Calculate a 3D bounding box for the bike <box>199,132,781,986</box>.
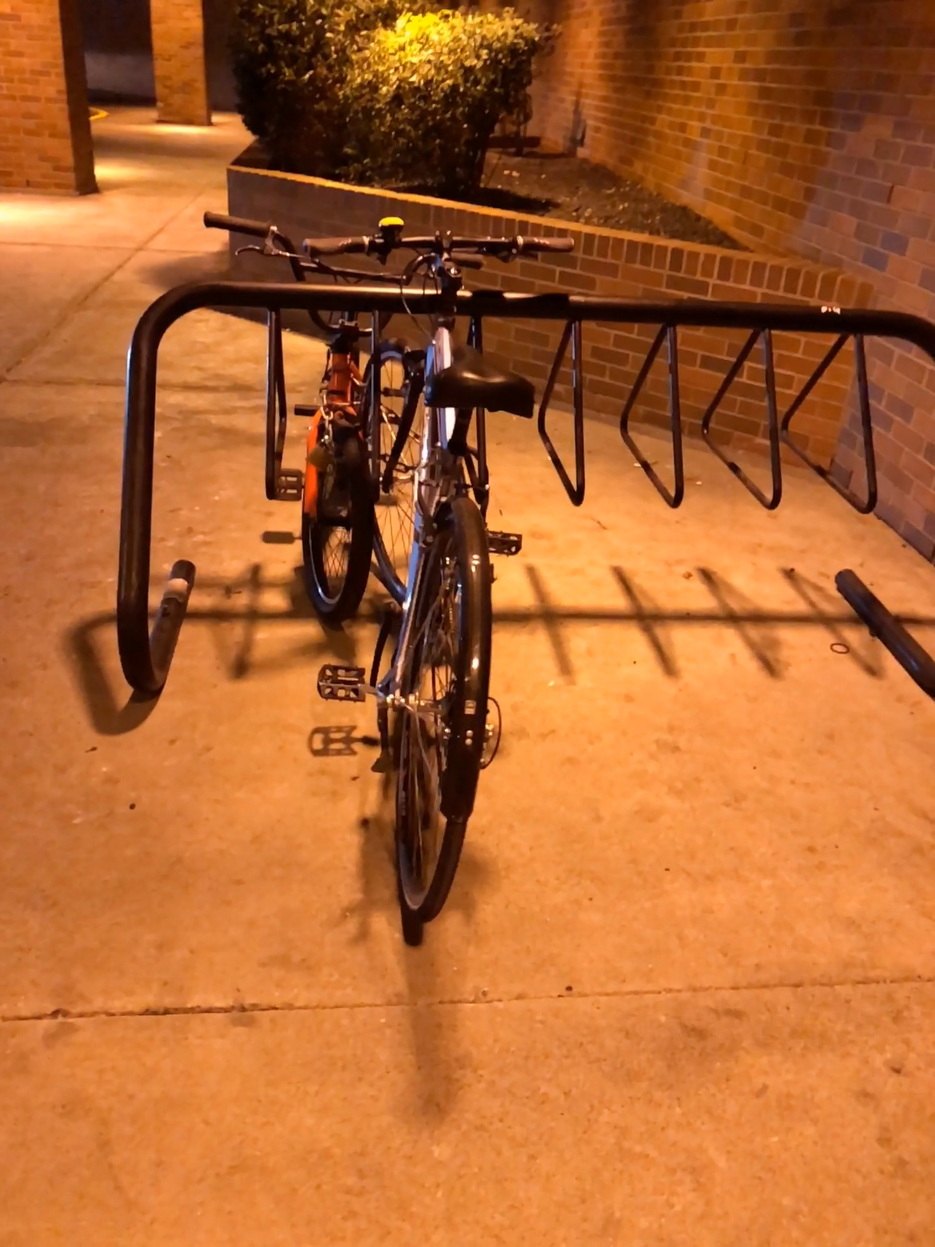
[{"bbox_3d":[-0.110,-0.315,1.983,0.637,0.864,1.653,0,33,-9],"label":"bike"}]
